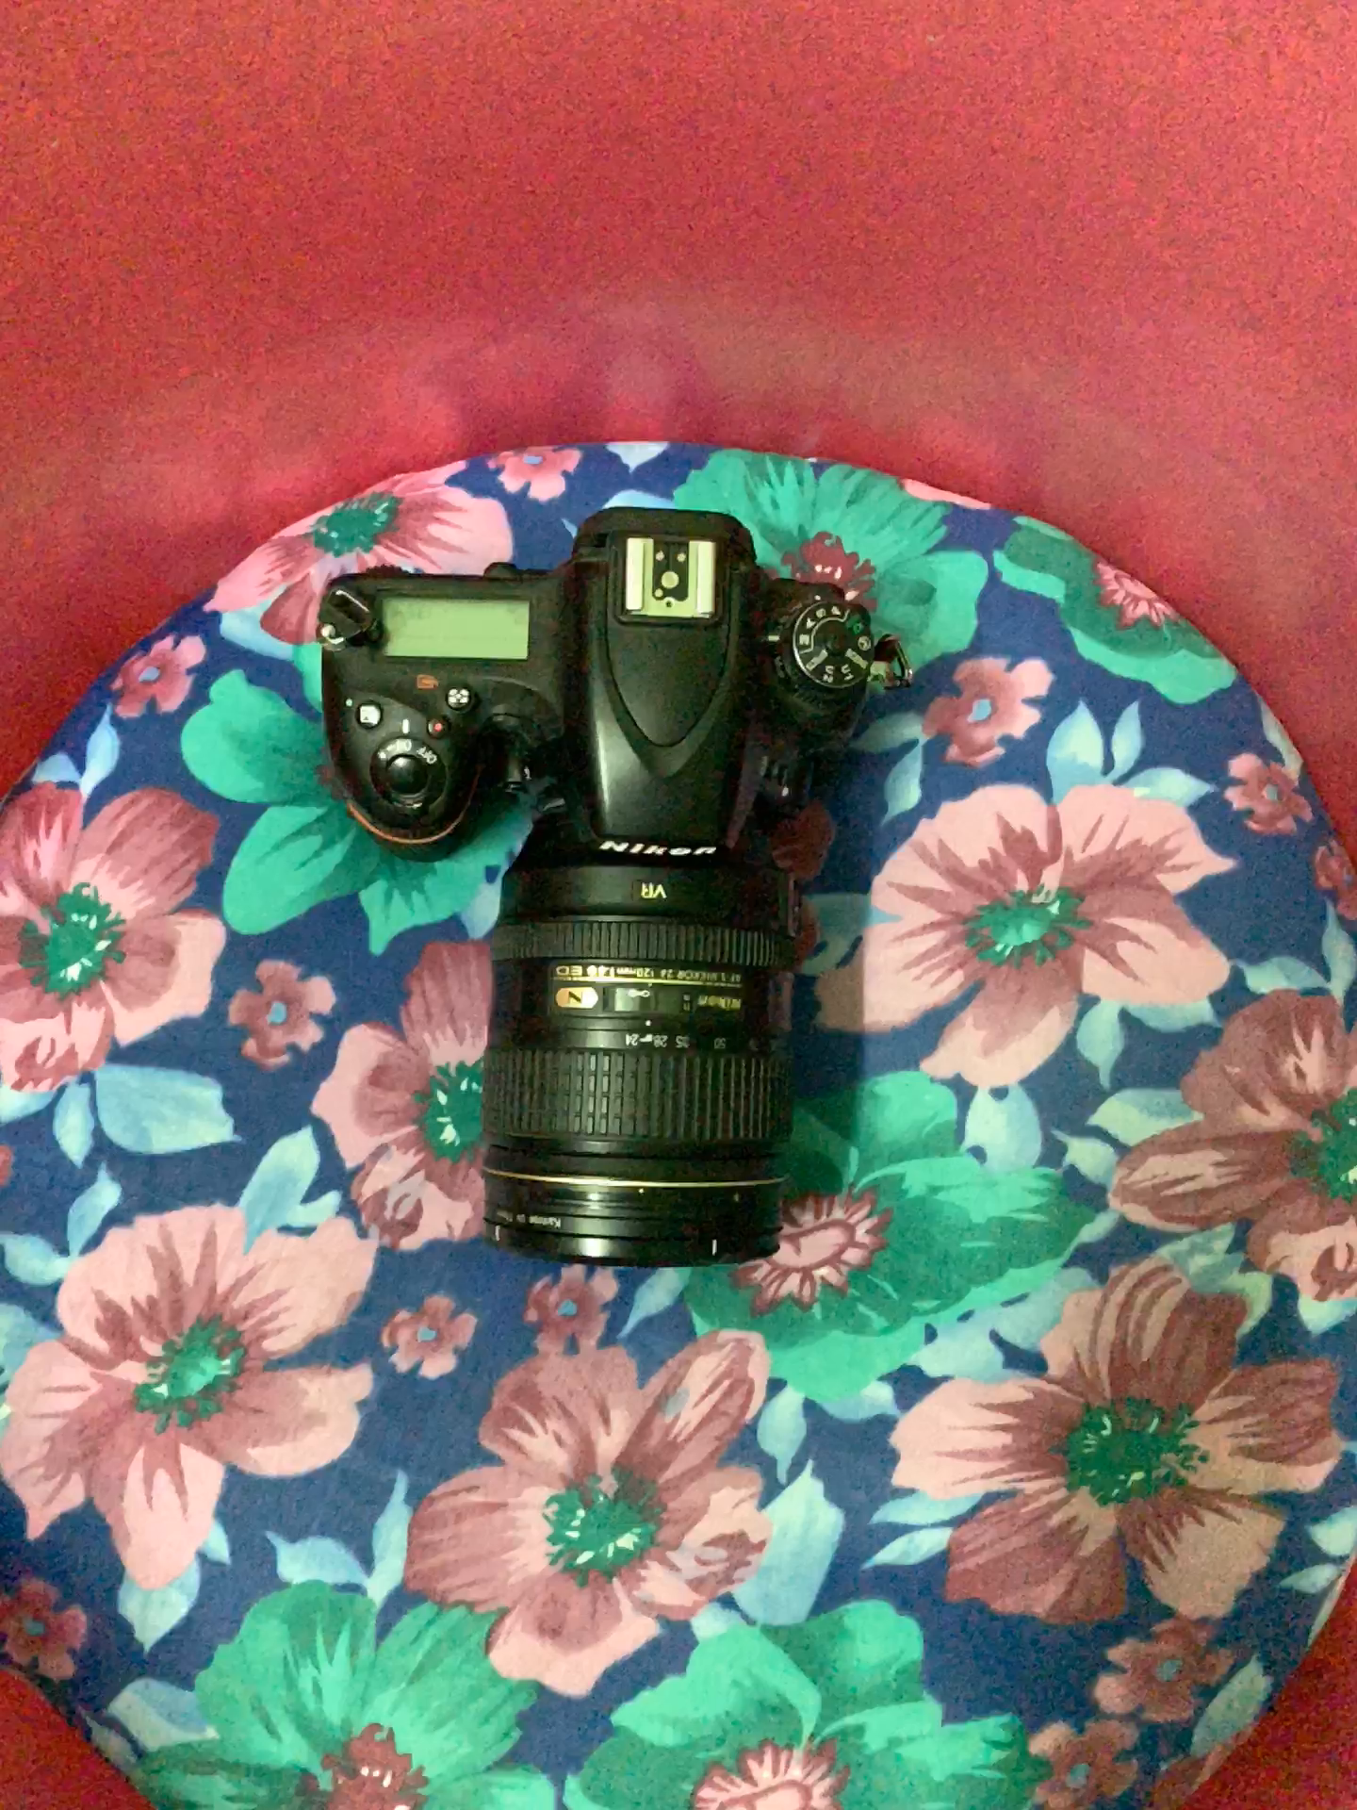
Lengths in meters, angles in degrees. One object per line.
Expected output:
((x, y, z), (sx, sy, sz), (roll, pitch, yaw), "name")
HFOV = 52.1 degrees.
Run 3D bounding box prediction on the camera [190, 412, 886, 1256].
((-0.027, -0.011, 0.352), (0.140, 0.111, 0.179), (2, 81, 0), "camera")
